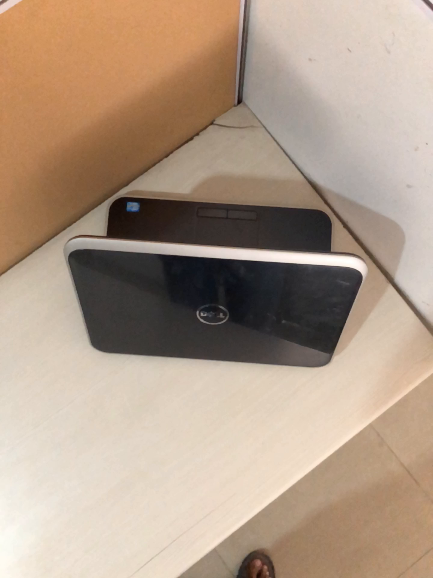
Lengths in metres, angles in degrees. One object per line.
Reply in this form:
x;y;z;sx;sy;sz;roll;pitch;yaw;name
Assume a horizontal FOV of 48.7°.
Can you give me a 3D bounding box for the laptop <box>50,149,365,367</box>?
-0.004;-0.025;0.658;0.347;0.193;0.240;4;82;0;laptop
